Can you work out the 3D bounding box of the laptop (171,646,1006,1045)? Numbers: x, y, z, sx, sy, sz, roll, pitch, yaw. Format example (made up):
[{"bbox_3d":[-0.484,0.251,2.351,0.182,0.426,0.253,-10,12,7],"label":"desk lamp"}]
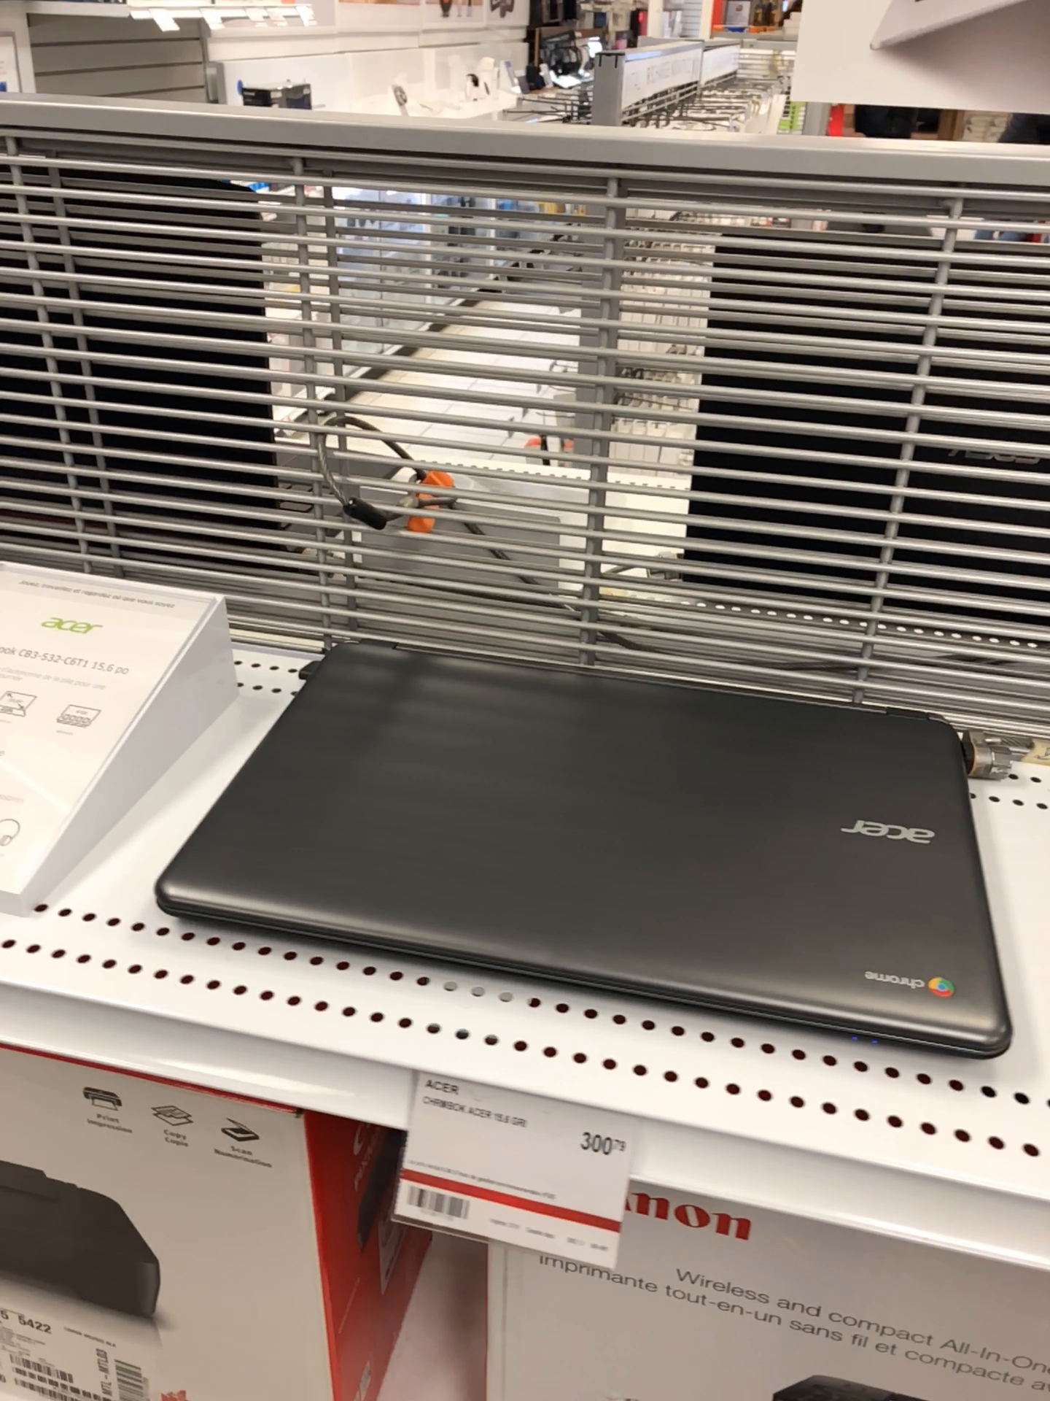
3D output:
[{"bbox_3d":[0.036,0.050,0.596,0.367,0.001,0.238,8,32,12],"label":"laptop"}]
